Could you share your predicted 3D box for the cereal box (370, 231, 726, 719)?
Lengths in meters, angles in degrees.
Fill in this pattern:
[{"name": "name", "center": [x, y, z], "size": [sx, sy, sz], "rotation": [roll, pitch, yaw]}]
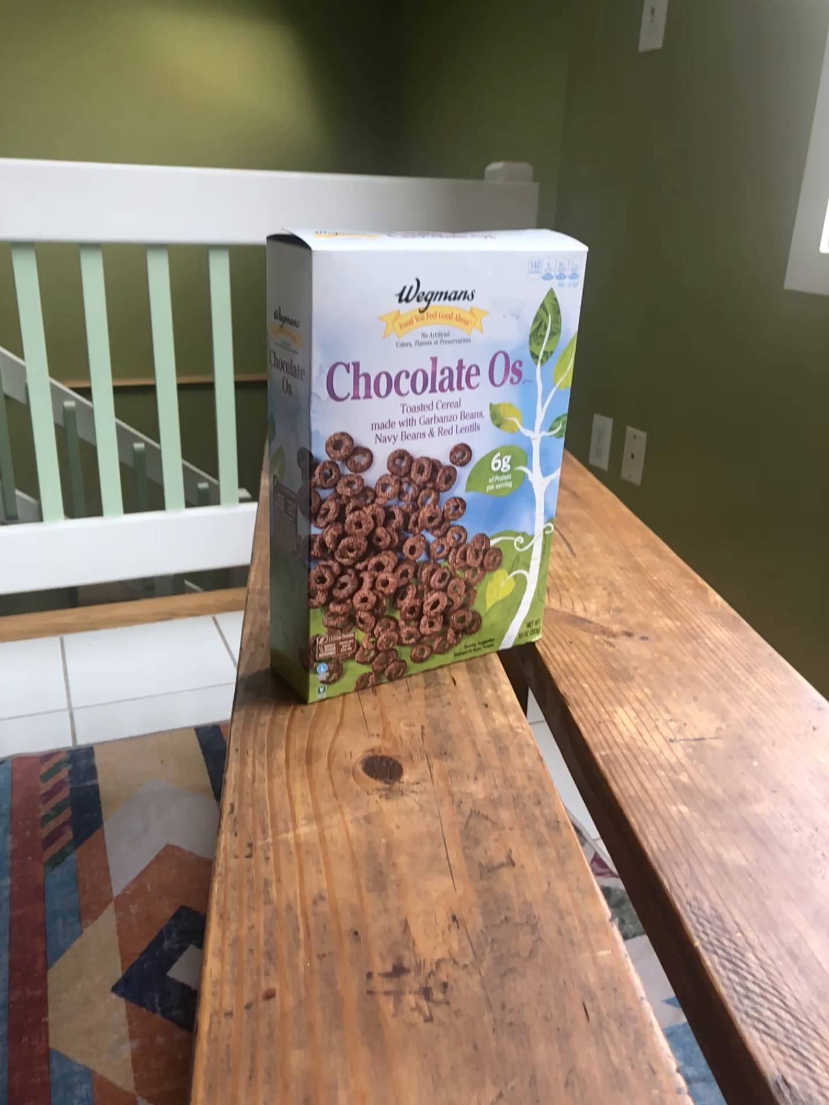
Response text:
[{"name": "cereal box", "center": [0.082, -0.055, 0.585], "size": [0.210, 0.278, 0.060], "rotation": [-11, 26, -31]}]
